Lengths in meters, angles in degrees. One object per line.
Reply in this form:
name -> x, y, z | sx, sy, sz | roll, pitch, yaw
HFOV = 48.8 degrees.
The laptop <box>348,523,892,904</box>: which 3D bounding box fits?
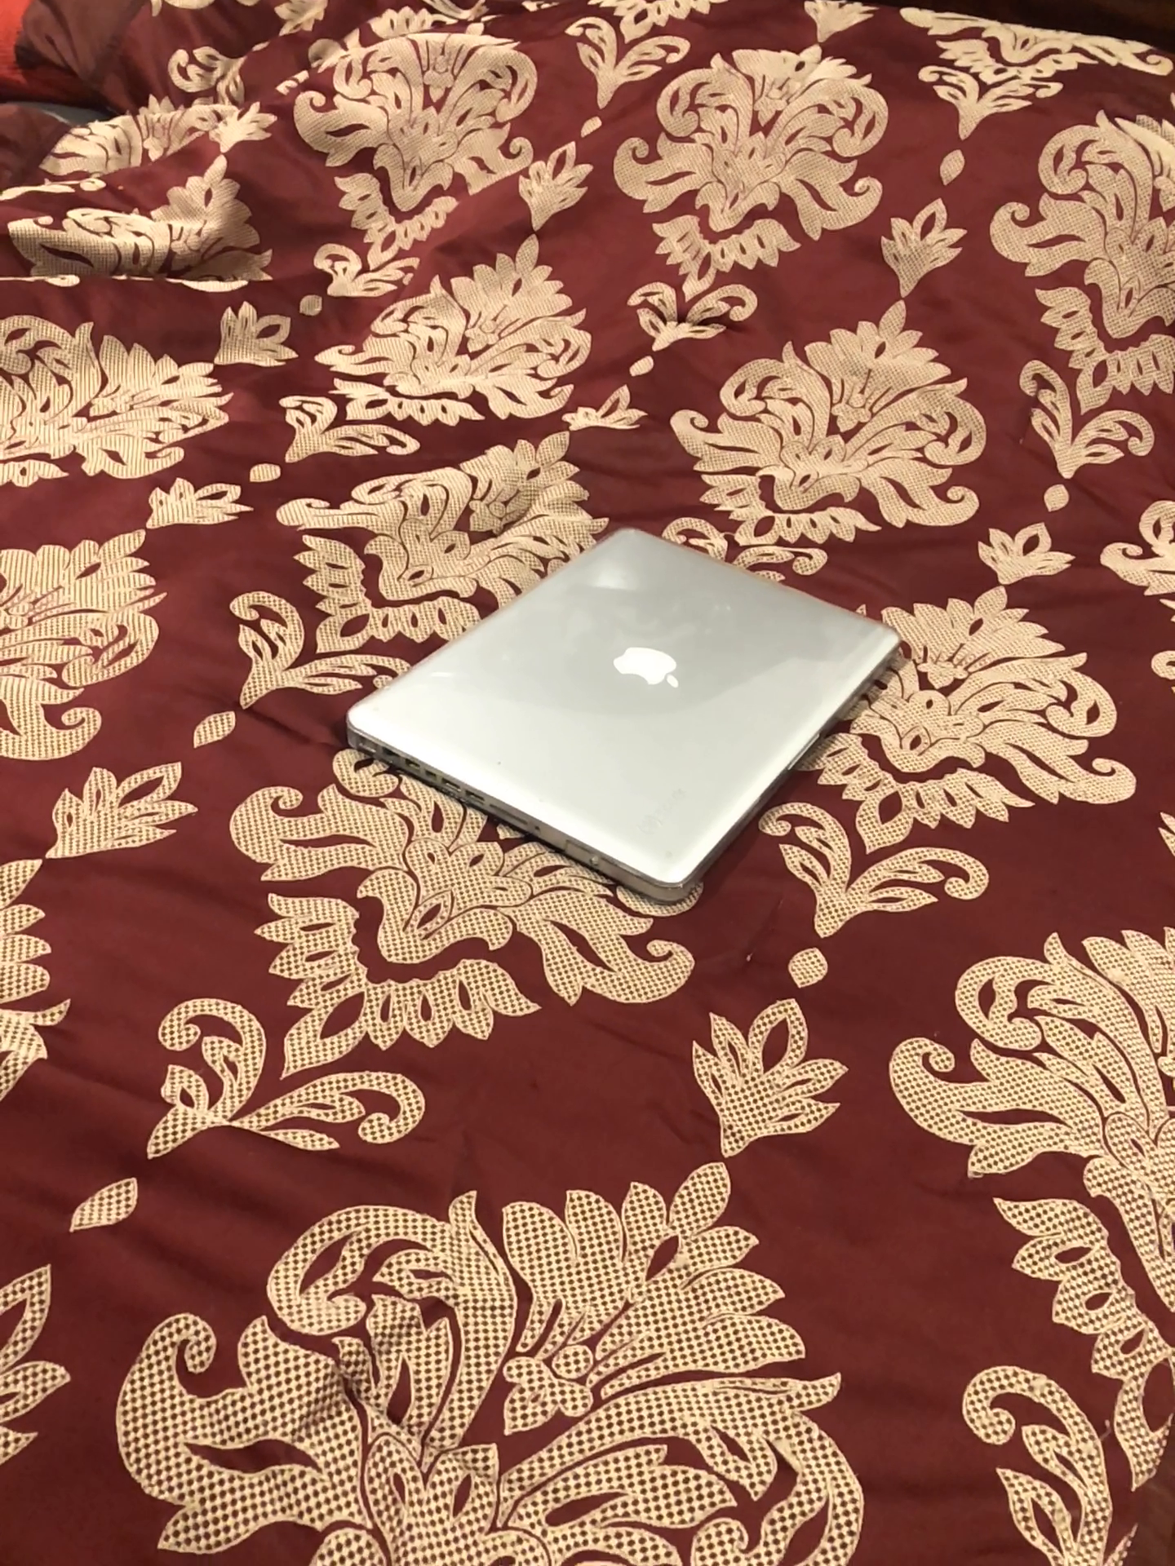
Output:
laptop -> 0.034, -0.063, 0.793 | 0.207, 0.015, 0.305 | 26, 43, 20
